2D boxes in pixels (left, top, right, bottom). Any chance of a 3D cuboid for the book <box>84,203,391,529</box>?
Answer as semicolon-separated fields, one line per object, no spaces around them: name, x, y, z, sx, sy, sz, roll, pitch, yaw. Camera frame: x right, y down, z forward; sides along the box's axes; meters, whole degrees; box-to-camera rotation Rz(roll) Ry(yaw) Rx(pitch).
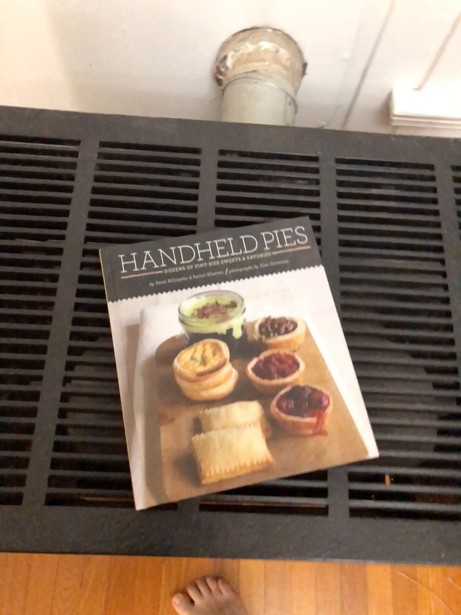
book;-0.003;0.034;0.414;0.200;0.020;0.230;-11;70;-6
